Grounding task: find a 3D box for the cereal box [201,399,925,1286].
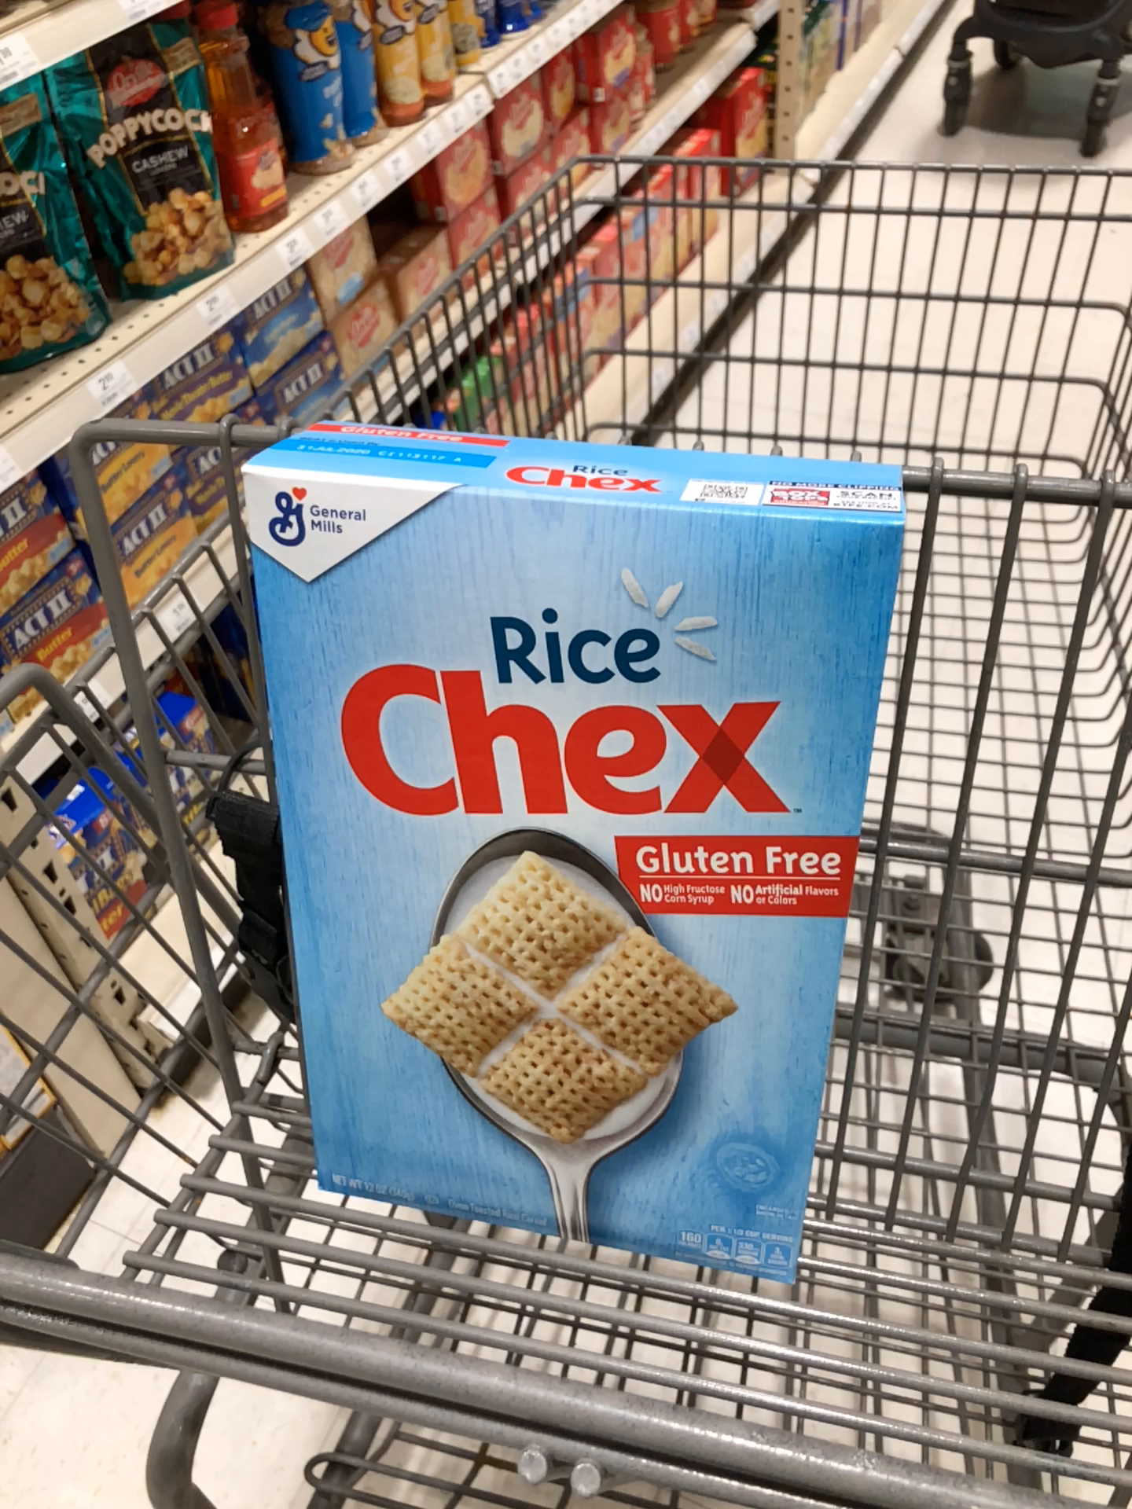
[{"bbox_3d":[-0.002,0.038,0.430,0.200,0.290,0.060,7,28,11],"label":"cereal box"}]
